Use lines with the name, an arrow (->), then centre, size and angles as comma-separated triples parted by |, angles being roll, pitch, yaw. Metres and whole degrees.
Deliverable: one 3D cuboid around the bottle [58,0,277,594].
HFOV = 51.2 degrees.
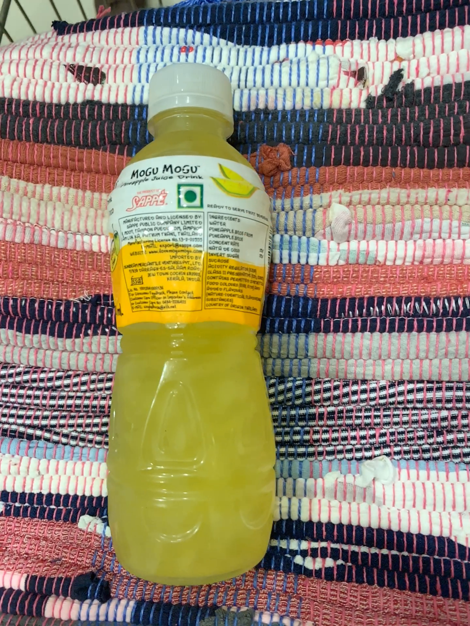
bottle -> -0.017, -0.014, 0.174 | 0.060, 0.050, 0.190 | -1, 81, 7
